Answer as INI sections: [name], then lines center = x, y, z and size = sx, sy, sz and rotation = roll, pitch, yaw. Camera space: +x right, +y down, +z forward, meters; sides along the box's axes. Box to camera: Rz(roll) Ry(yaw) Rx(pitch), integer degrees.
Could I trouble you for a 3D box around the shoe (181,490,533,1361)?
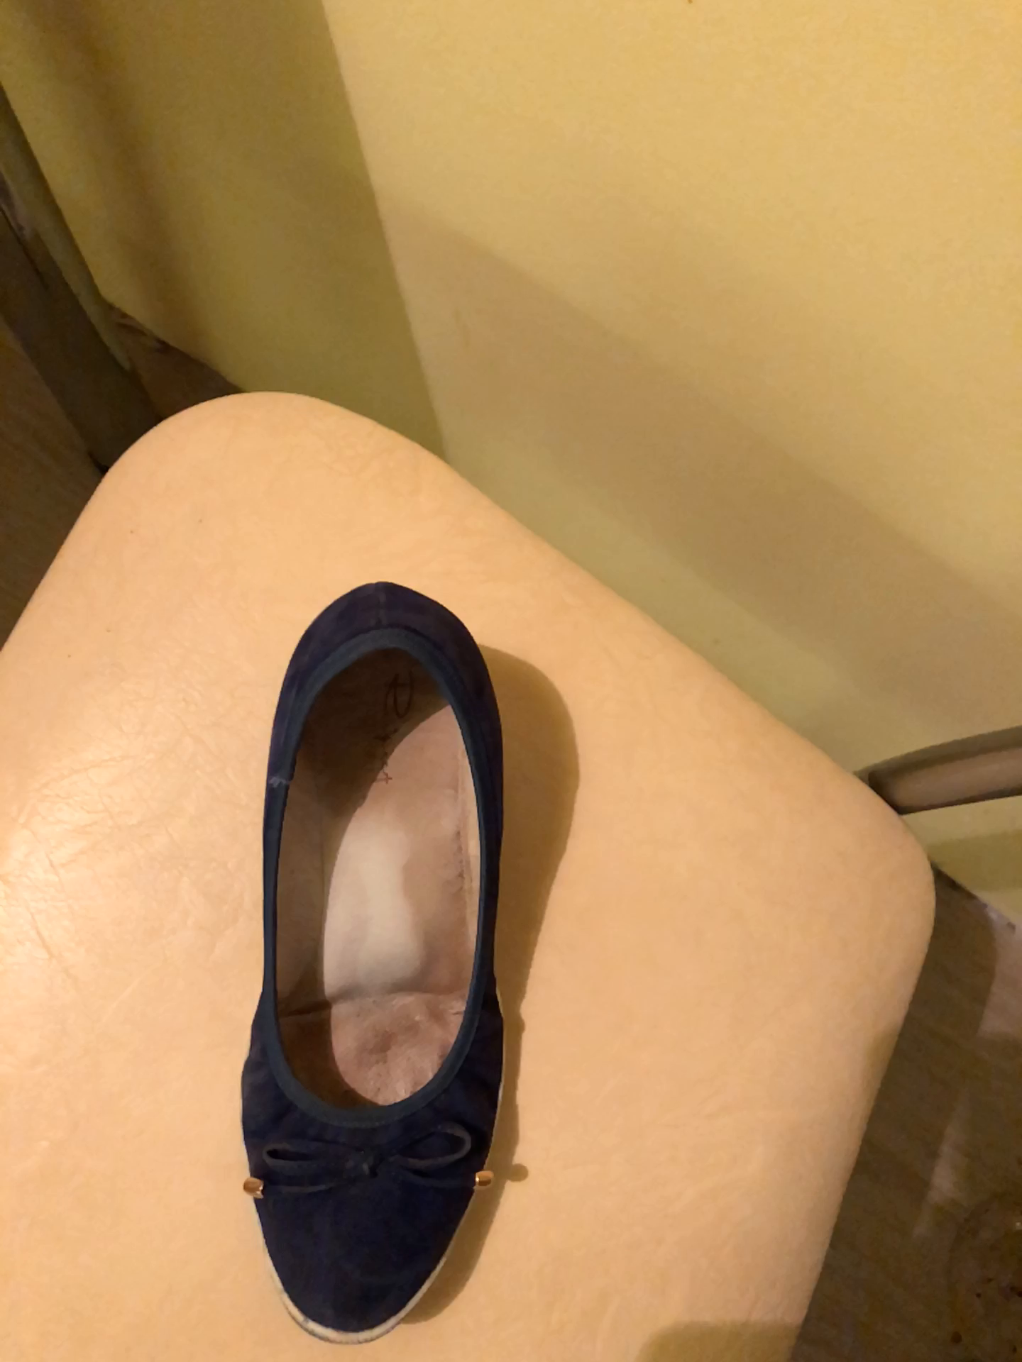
[shoe]
center = -0.044, 0.076, 0.367
size = 0.090, 0.100, 0.250
rotation = 2, 78, -6
